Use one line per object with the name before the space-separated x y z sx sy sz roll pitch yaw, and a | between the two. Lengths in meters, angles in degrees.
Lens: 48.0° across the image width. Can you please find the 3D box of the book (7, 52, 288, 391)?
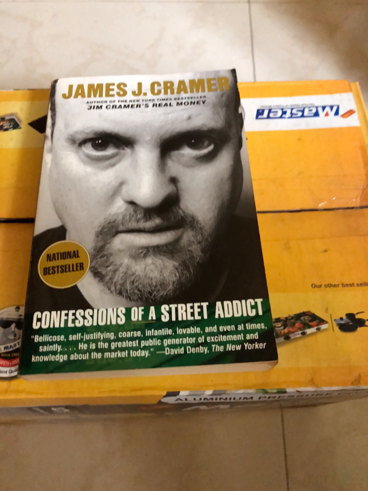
book | -0.024 -0.032 0.270 0.140 0.030 0.230 -3 64 -1
